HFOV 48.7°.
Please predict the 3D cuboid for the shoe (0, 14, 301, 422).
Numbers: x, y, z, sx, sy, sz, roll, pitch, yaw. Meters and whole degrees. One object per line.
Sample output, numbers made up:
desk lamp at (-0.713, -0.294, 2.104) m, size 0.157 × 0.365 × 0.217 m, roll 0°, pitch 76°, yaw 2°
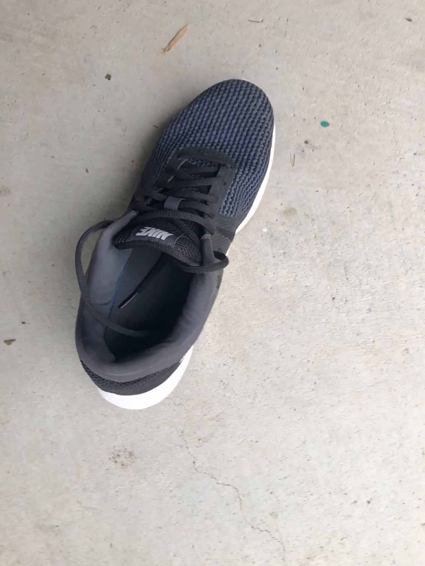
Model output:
shoe at (-0.038, -0.052, 0.397) m, size 0.130 × 0.100 × 0.290 m, roll 19°, pitch 81°, yaw 7°
